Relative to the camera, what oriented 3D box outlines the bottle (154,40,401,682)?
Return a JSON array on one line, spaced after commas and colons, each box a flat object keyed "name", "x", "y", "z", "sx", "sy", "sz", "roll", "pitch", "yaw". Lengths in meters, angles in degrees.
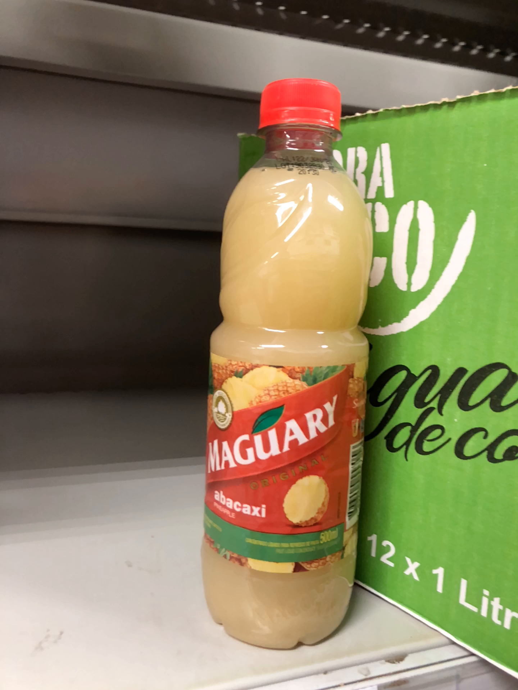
[{"name": "bottle", "x": 0.007, "y": 0.006, "z": 0.225, "sx": 0.070, "sy": 0.209, "sz": 0.060, "roll": 6, "pitch": 10, "yaw": 22}]
